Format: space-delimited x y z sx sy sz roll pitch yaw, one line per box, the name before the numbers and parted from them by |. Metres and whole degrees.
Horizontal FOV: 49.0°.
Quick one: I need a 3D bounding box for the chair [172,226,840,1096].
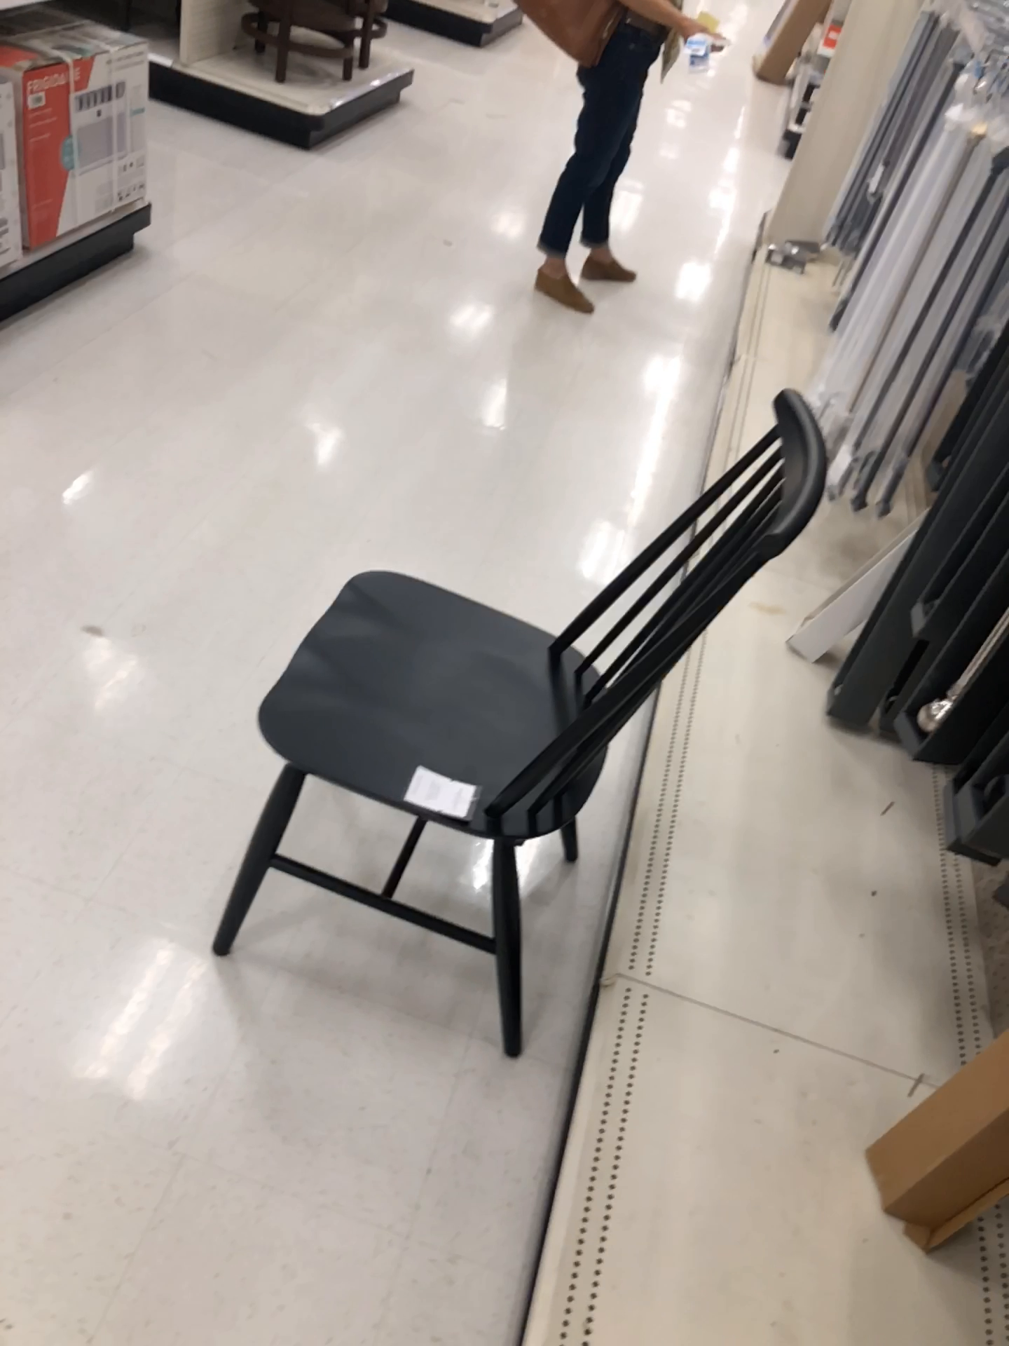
chair | -0.027 0.006 1.510 0.608 0.909 0.520 20 38 4
